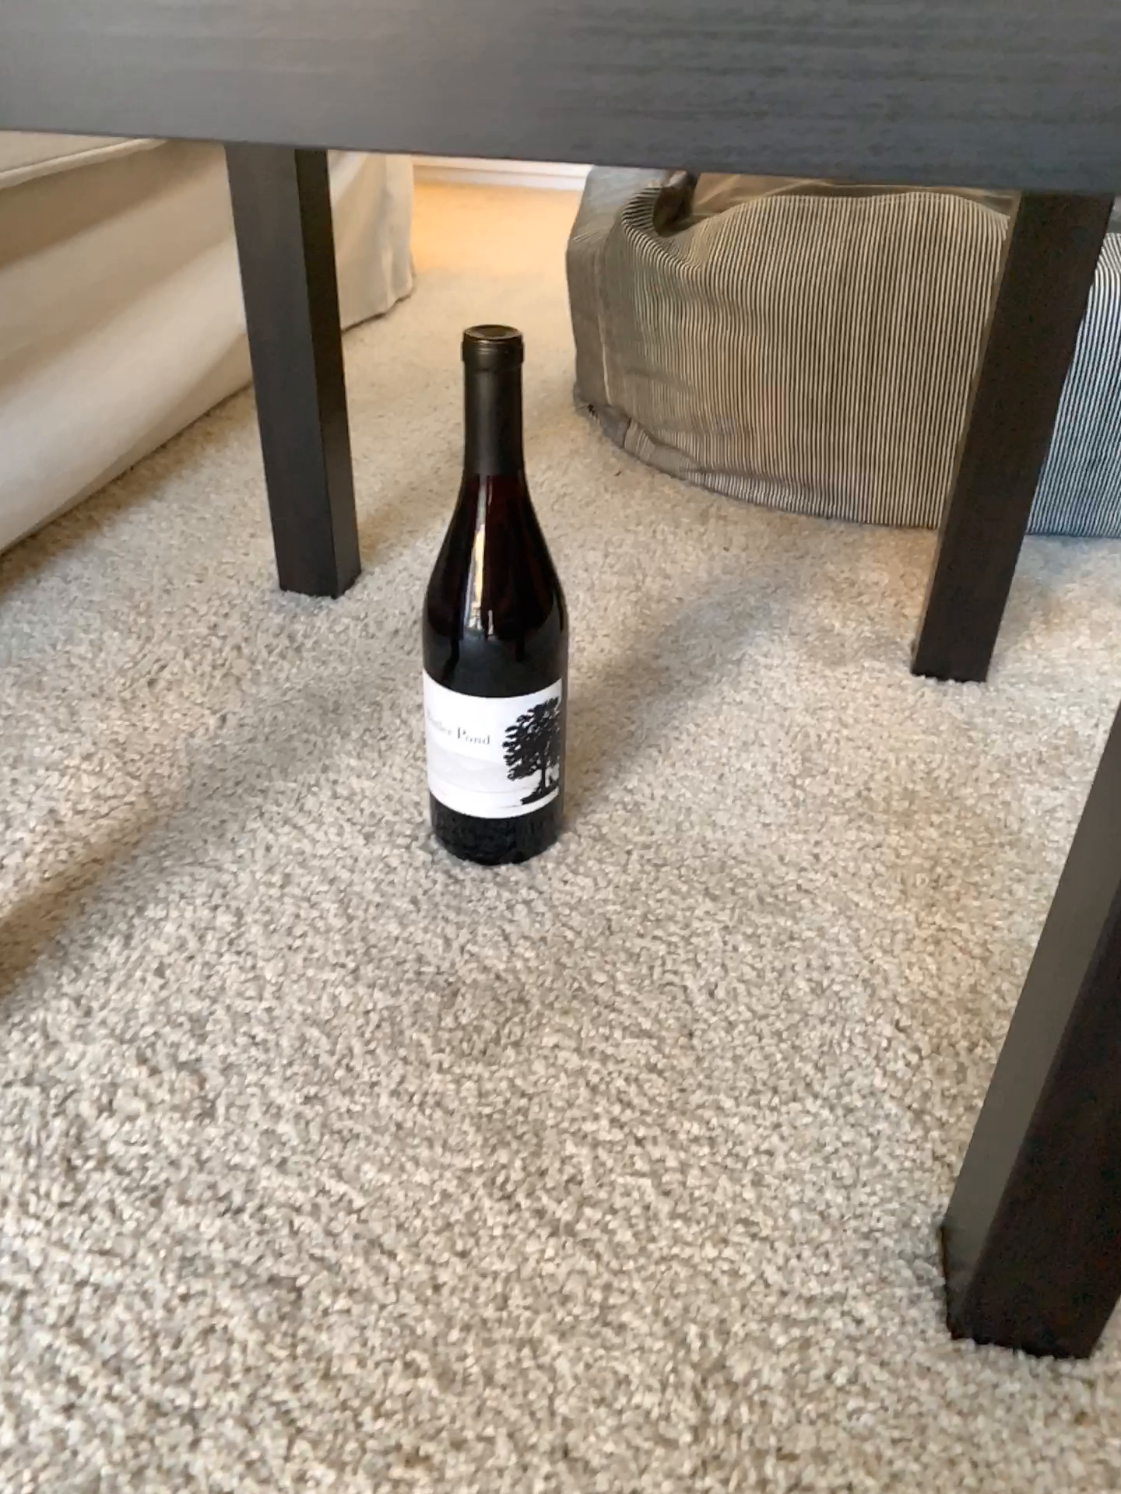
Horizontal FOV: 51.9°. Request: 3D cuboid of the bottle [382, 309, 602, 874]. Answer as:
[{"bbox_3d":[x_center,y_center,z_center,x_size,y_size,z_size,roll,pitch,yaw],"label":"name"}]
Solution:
[{"bbox_3d":[-0.033,-0.074,0.625,0.090,0.288,0.091,1,35,-1],"label":"bottle"}]
